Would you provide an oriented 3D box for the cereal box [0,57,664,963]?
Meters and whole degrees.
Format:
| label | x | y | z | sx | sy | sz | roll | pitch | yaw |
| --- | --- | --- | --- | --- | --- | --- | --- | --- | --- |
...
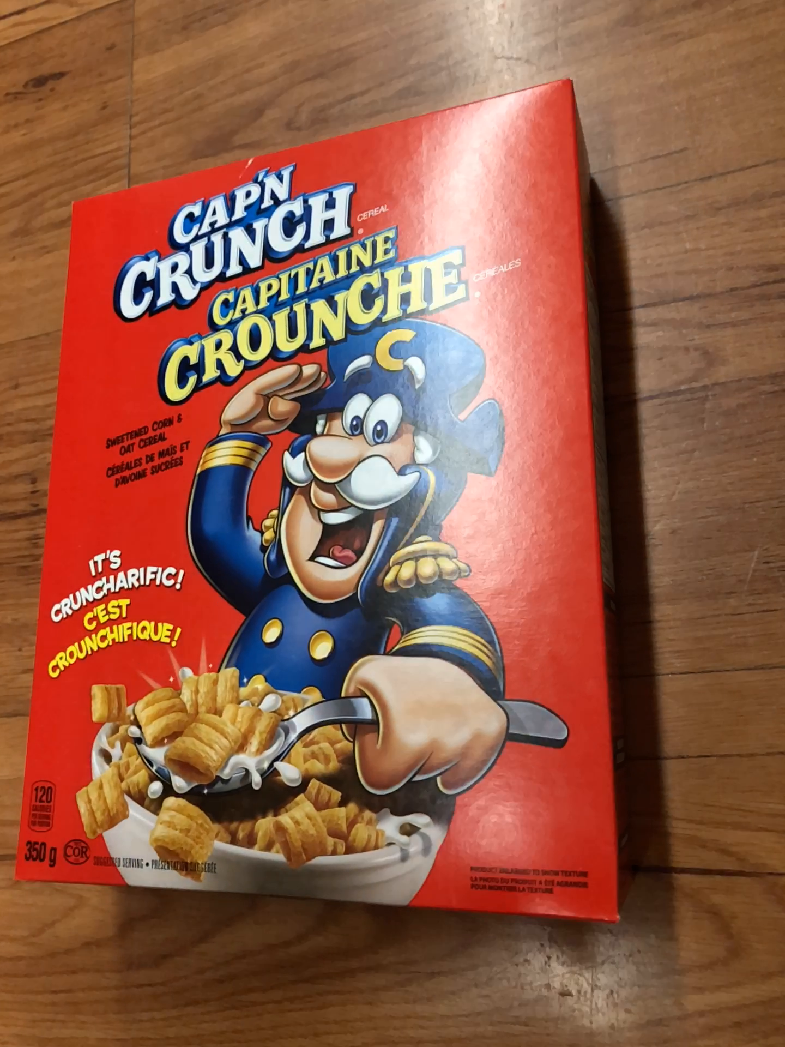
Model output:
| label | x | y | z | sx | sy | sz | roll | pitch | yaw |
| --- | --- | --- | --- | --- | --- | --- | --- | --- | --- |
| cereal box | -0.031 | -0.004 | 0.307 | 0.221 | 0.060 | 0.260 | -5 | 76 | 20 |
